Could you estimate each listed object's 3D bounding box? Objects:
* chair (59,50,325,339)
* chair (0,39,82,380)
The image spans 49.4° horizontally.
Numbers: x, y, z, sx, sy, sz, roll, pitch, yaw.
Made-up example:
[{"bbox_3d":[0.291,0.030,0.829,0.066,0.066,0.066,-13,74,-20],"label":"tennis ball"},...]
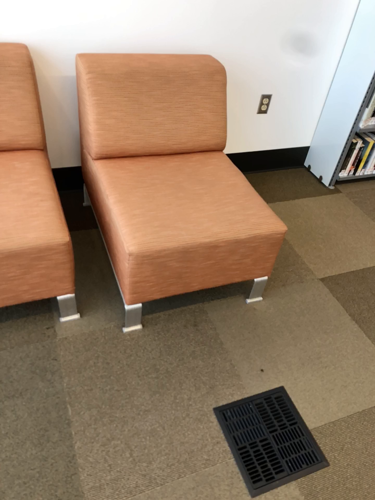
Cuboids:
[{"bbox_3d":[-0.090,-0.298,1.743,0.695,0.759,0.925,-10,44,-20],"label":"chair"},{"bbox_3d":[-0.907,-0.227,1.566,0.765,0.809,0.935,-10,45,-20],"label":"chair"}]
